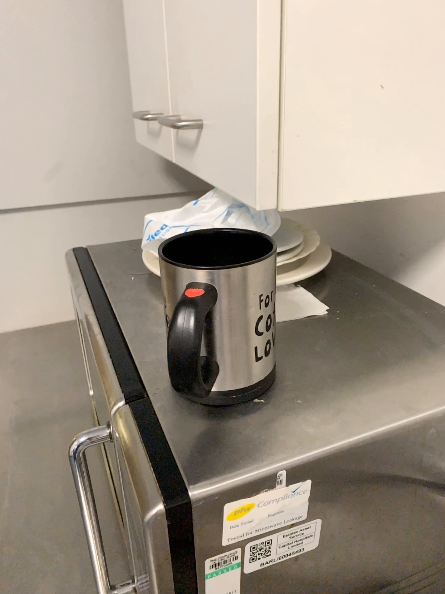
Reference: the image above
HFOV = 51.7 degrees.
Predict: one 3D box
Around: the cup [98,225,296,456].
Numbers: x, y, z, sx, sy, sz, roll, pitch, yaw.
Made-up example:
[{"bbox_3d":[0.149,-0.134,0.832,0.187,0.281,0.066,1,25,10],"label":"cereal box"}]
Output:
[{"bbox_3d":[-0.008,0.020,0.344,0.096,0.108,0.134,7,25,19],"label":"cup"}]
